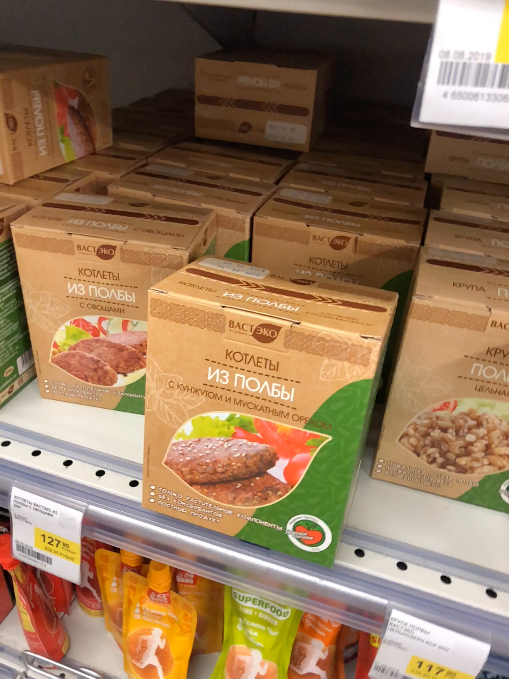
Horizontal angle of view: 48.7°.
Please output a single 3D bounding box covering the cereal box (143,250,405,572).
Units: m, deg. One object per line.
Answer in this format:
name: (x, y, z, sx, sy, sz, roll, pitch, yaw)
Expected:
cereal box: (0.011, 0.035, 0.336, 0.120, 0.139, 0.090, 13, 25, 14)
